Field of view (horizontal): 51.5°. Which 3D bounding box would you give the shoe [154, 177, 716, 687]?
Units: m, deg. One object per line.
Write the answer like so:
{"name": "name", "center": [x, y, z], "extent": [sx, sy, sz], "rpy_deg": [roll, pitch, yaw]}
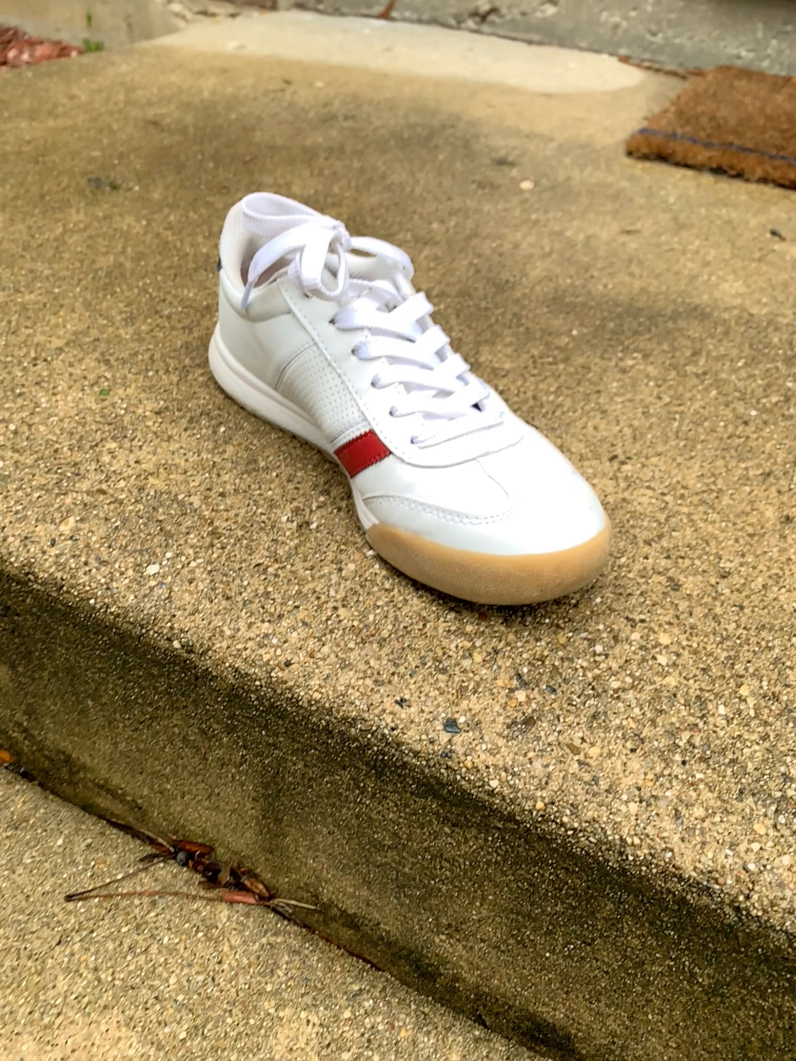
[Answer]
{"name": "shoe", "center": [-0.007, -0.069, 0.380], "extent": [0.098, 0.092, 0.270], "rpy_deg": [-22, 47, -28]}
